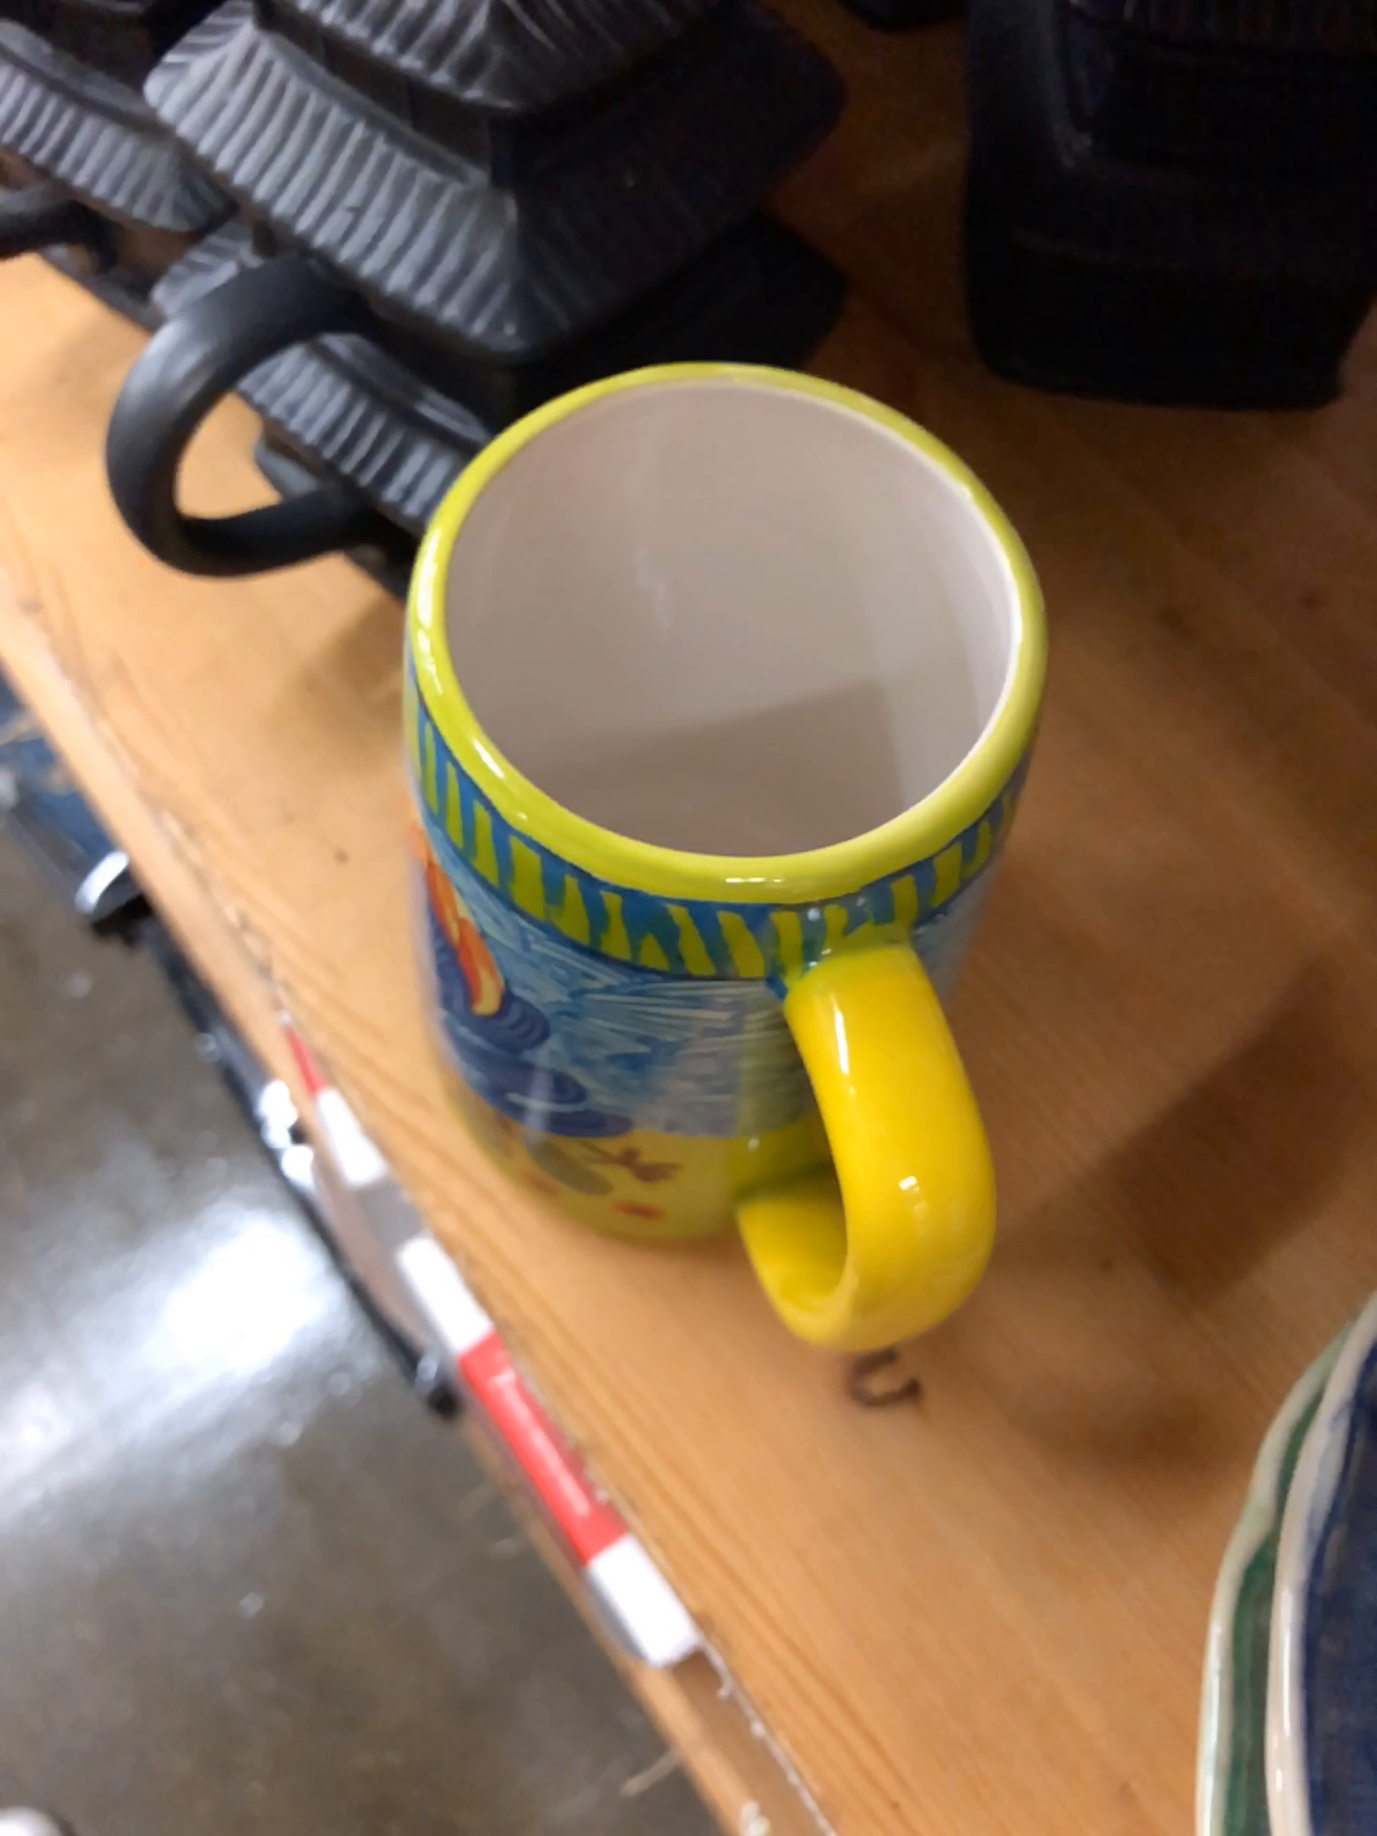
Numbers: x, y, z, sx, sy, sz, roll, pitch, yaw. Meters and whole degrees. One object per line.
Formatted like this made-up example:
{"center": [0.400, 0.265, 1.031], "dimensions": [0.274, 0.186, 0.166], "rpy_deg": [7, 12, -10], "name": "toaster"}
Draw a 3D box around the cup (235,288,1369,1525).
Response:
{"center": [0.003, 0.009, 0.218], "dimensions": [0.086, 0.125, 0.113], "rpy_deg": [-14, 67, -10], "name": "cup"}
